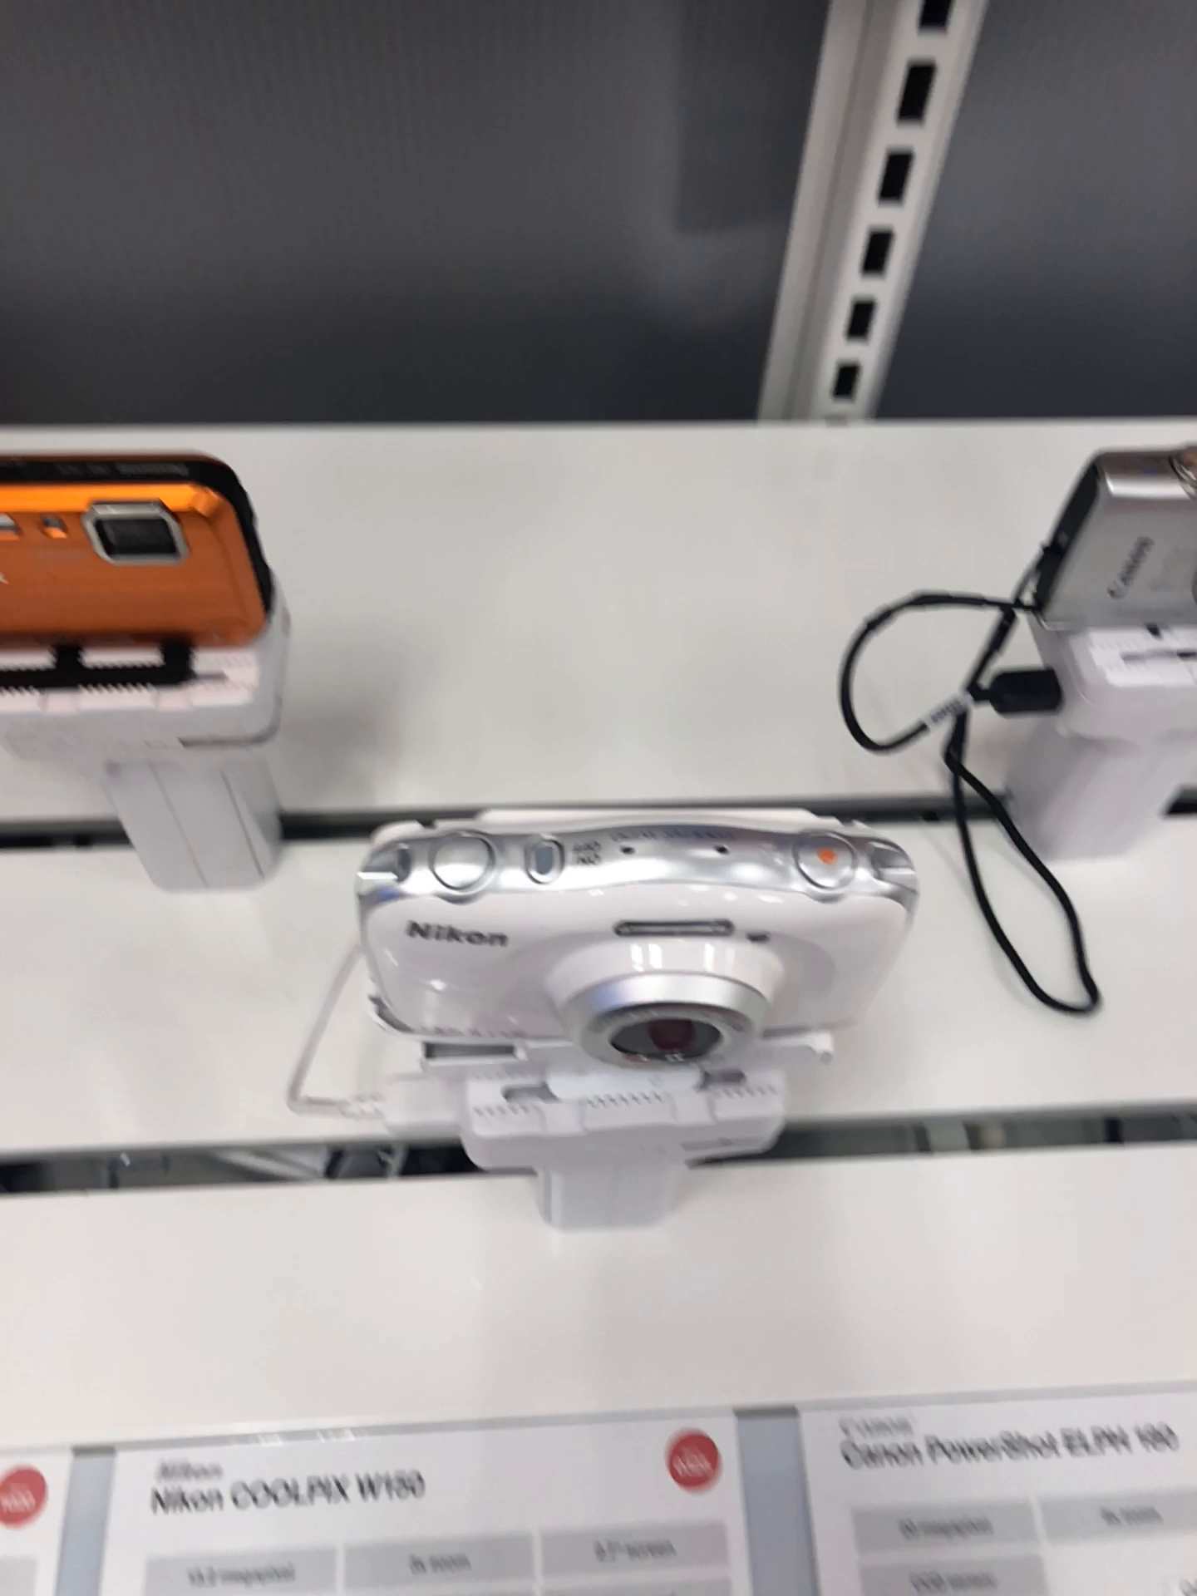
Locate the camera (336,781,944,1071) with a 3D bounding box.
[{"bbox_3d":[0.006,0.026,0.261,0.105,0.056,0.032,-2,58,-4],"label":"camera"}]
